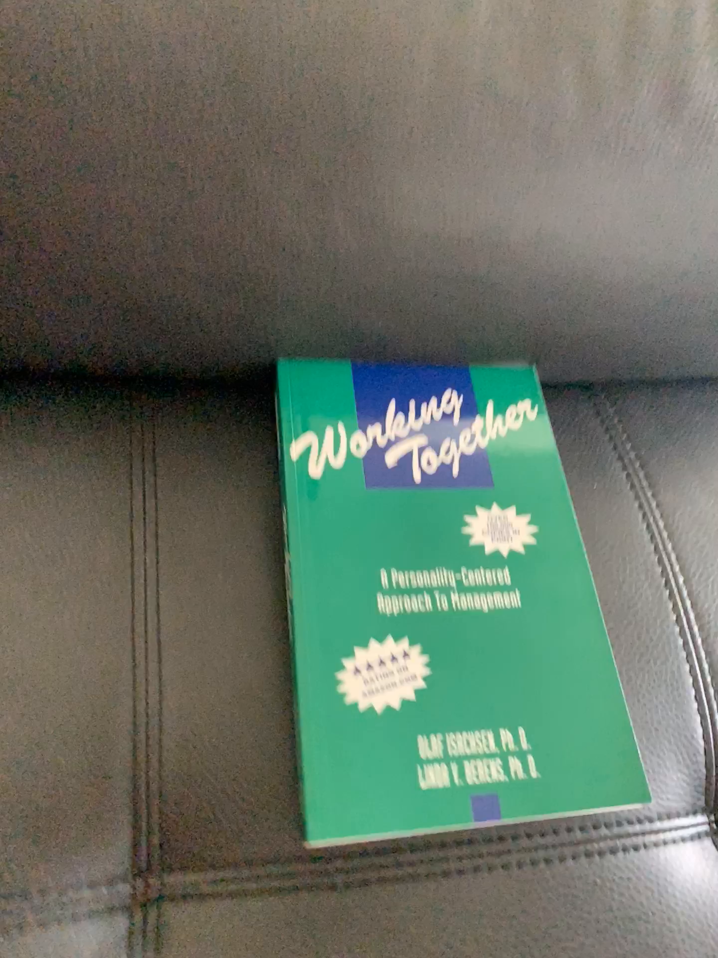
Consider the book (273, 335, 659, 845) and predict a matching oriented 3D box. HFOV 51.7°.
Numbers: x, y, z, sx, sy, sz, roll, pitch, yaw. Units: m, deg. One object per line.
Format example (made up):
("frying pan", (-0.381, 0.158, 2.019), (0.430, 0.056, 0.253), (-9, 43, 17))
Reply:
("book", (0.037, 0.037, 0.335), (0.137, 0.033, 0.217), (1, 63, -15))
